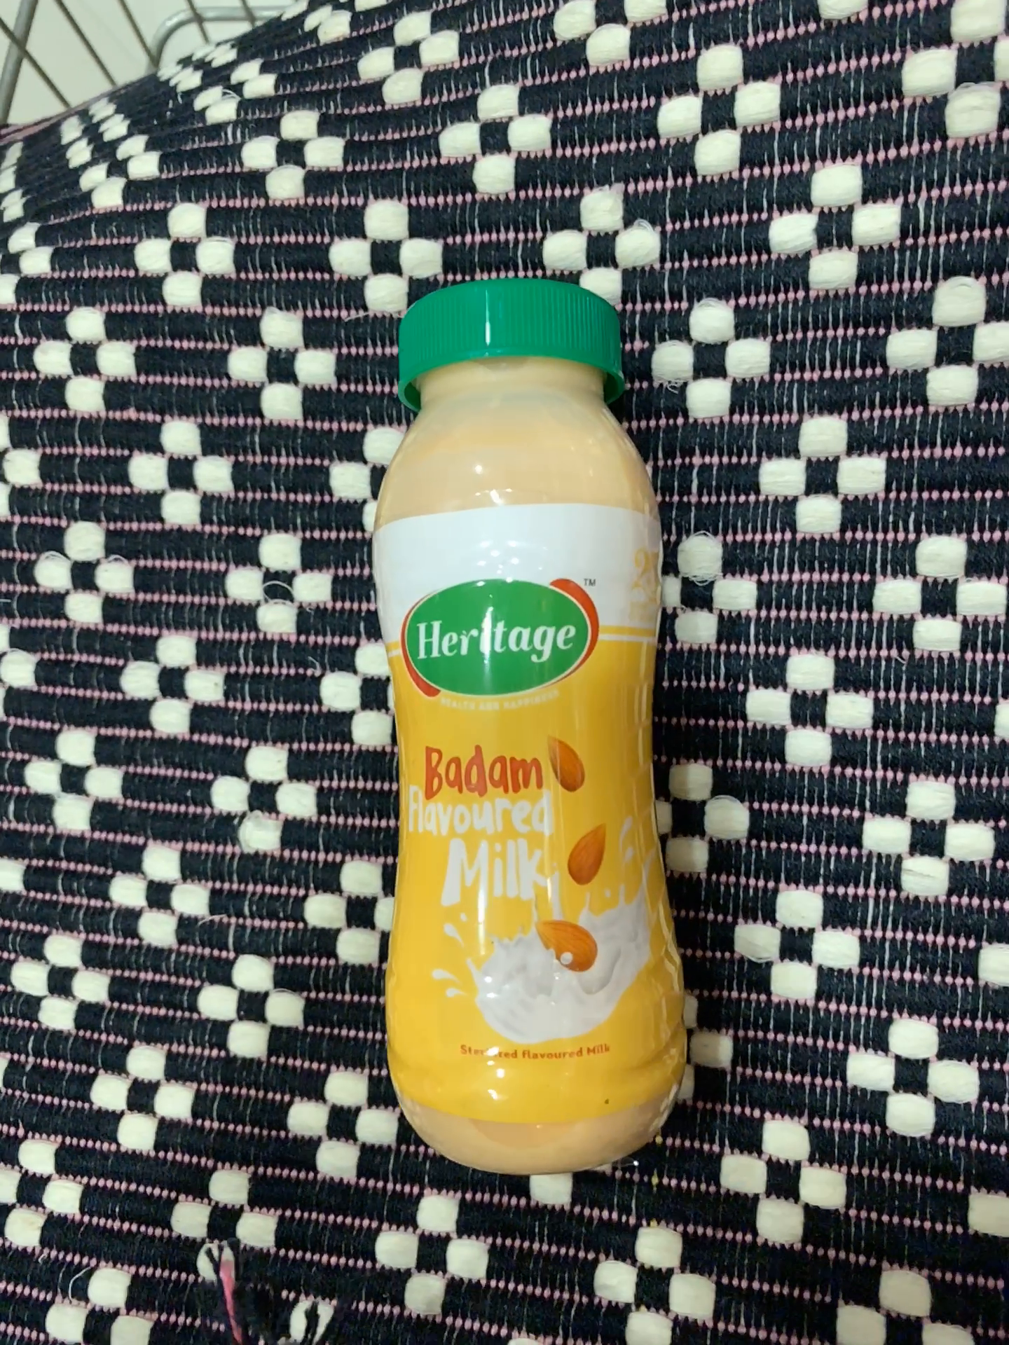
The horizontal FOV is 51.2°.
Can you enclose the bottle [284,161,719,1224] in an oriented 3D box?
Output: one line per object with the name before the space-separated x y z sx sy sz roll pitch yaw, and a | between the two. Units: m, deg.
bottle | 0.001 0.002 0.172 0.060 0.040 0.150 -1 84 8
